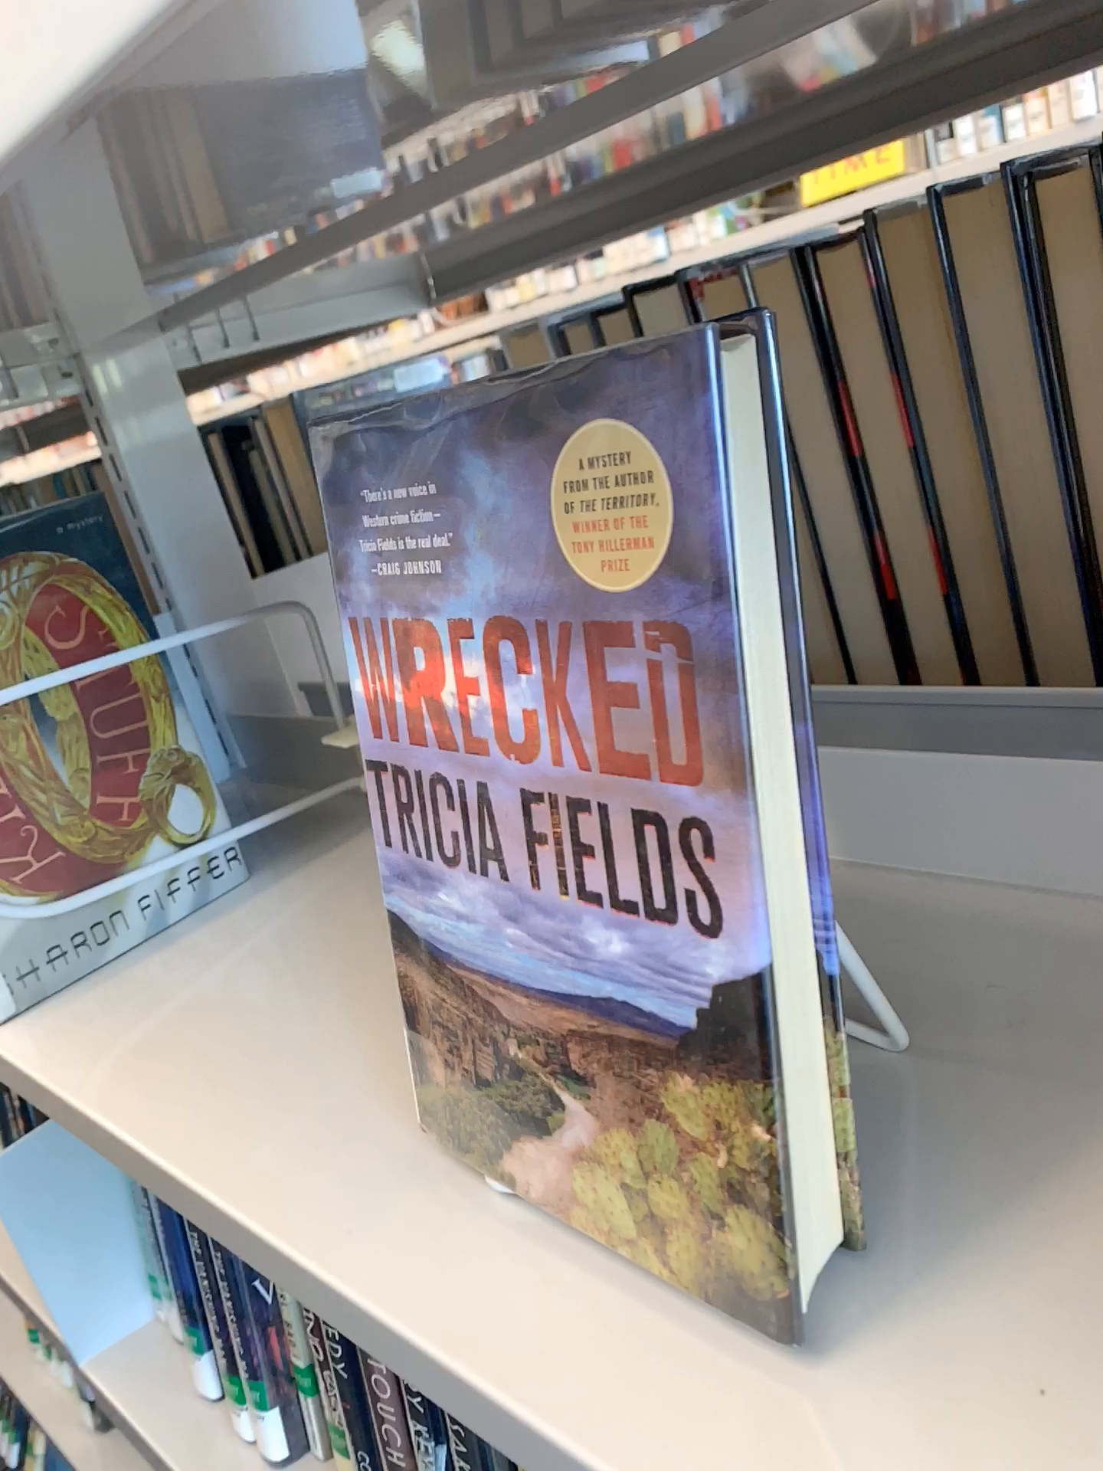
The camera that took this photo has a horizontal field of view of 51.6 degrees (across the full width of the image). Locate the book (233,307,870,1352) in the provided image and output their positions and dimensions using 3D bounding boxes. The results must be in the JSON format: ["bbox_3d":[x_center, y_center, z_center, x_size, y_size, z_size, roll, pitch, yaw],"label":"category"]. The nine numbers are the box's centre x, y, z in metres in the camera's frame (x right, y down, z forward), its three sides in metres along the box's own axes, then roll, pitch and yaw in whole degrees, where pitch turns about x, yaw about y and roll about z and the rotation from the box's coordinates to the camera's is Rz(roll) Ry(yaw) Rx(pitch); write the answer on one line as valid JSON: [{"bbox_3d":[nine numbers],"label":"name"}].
[{"bbox_3d":[-0.007,0.017,0.281,0.040,0.203,0.150,-17,15,-39],"label":"book"}]
